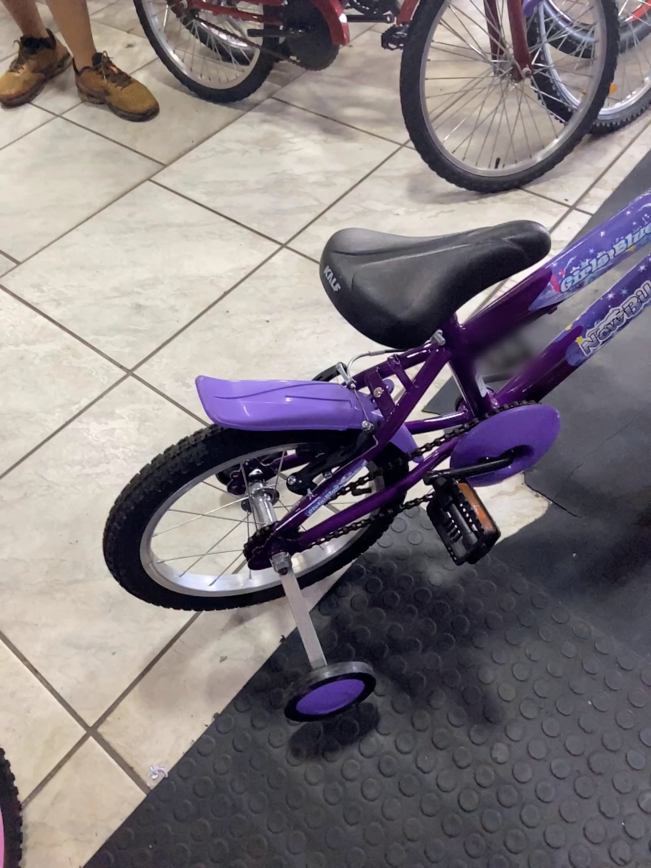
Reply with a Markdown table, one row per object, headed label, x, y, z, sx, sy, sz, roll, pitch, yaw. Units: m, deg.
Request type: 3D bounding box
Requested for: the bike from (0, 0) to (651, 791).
| label | x | y | z | sx | sy | sz | roll | pitch | yaw |
| --- | --- | --- | --- | --- | --- | --- | --- | --- | --- |
| bike | 0.187 | -0.138 | 0.729 | 0.971 | 0.743 | 0.449 | -25 | 55 | -11 |
